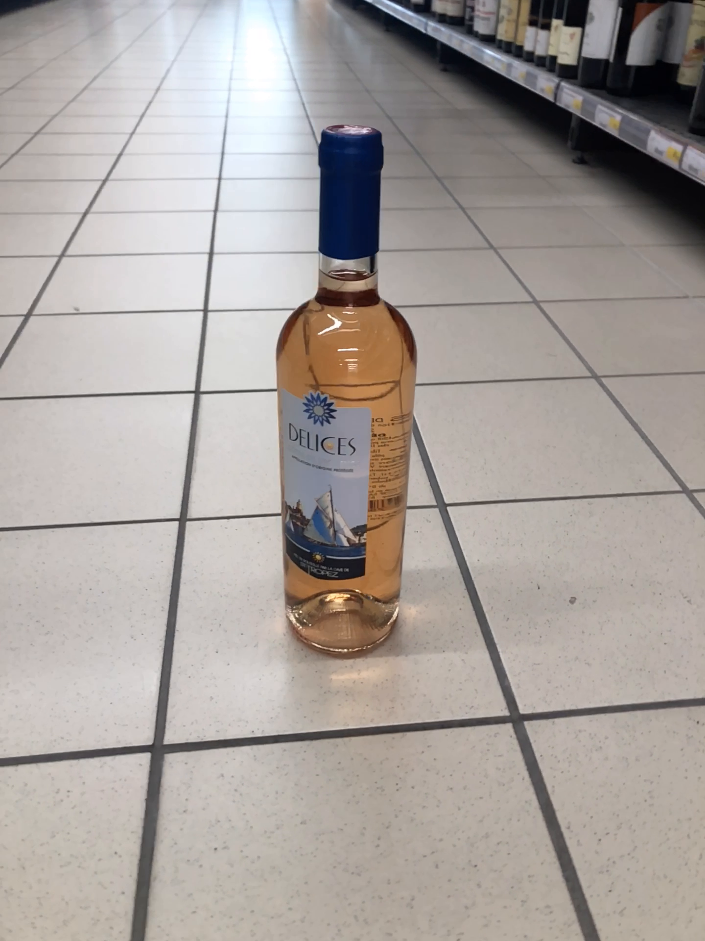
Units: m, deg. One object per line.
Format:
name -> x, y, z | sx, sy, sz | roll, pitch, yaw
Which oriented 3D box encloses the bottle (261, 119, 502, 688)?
bottle -> 0.012, -0.024, 0.420 | 0.080, 0.288, 0.081 | 1, 33, -1
